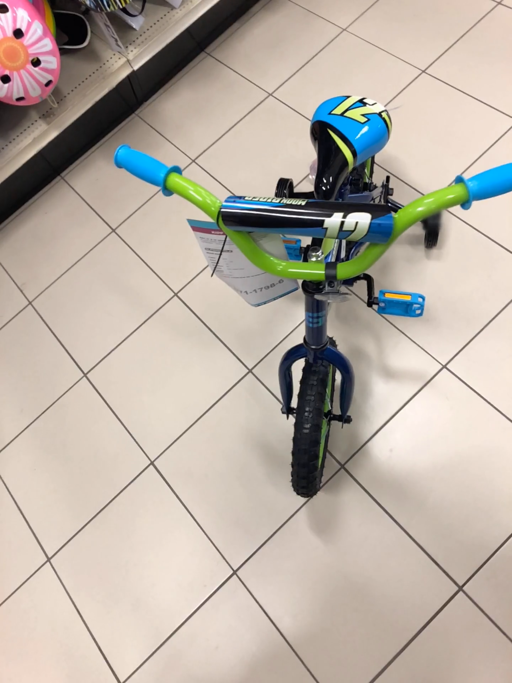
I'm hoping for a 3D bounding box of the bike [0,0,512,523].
[{"bbox_3d":[0.128,-0.180,0.960,0.548,0.677,0.795,6,69,18],"label":"bike"}]
